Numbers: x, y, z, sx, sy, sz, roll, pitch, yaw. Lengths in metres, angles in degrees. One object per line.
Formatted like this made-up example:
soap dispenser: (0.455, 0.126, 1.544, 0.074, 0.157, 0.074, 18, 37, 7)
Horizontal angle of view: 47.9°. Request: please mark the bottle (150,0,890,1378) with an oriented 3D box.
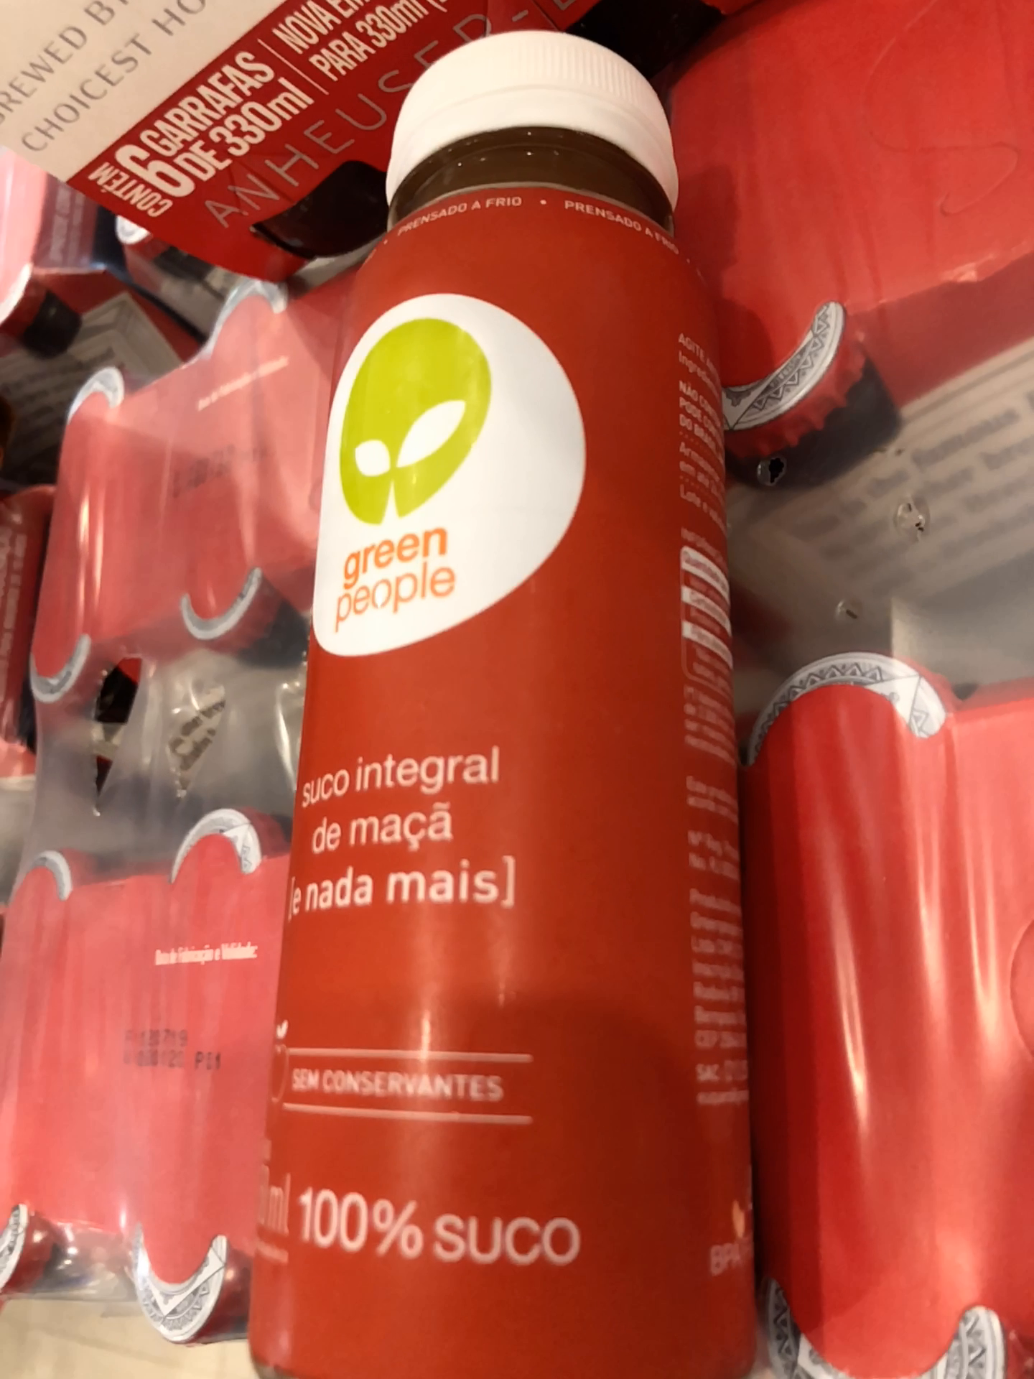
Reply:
bottle: (0.001, -0.014, 0.138, 0.060, 0.040, 0.180, -12, 69, 39)
